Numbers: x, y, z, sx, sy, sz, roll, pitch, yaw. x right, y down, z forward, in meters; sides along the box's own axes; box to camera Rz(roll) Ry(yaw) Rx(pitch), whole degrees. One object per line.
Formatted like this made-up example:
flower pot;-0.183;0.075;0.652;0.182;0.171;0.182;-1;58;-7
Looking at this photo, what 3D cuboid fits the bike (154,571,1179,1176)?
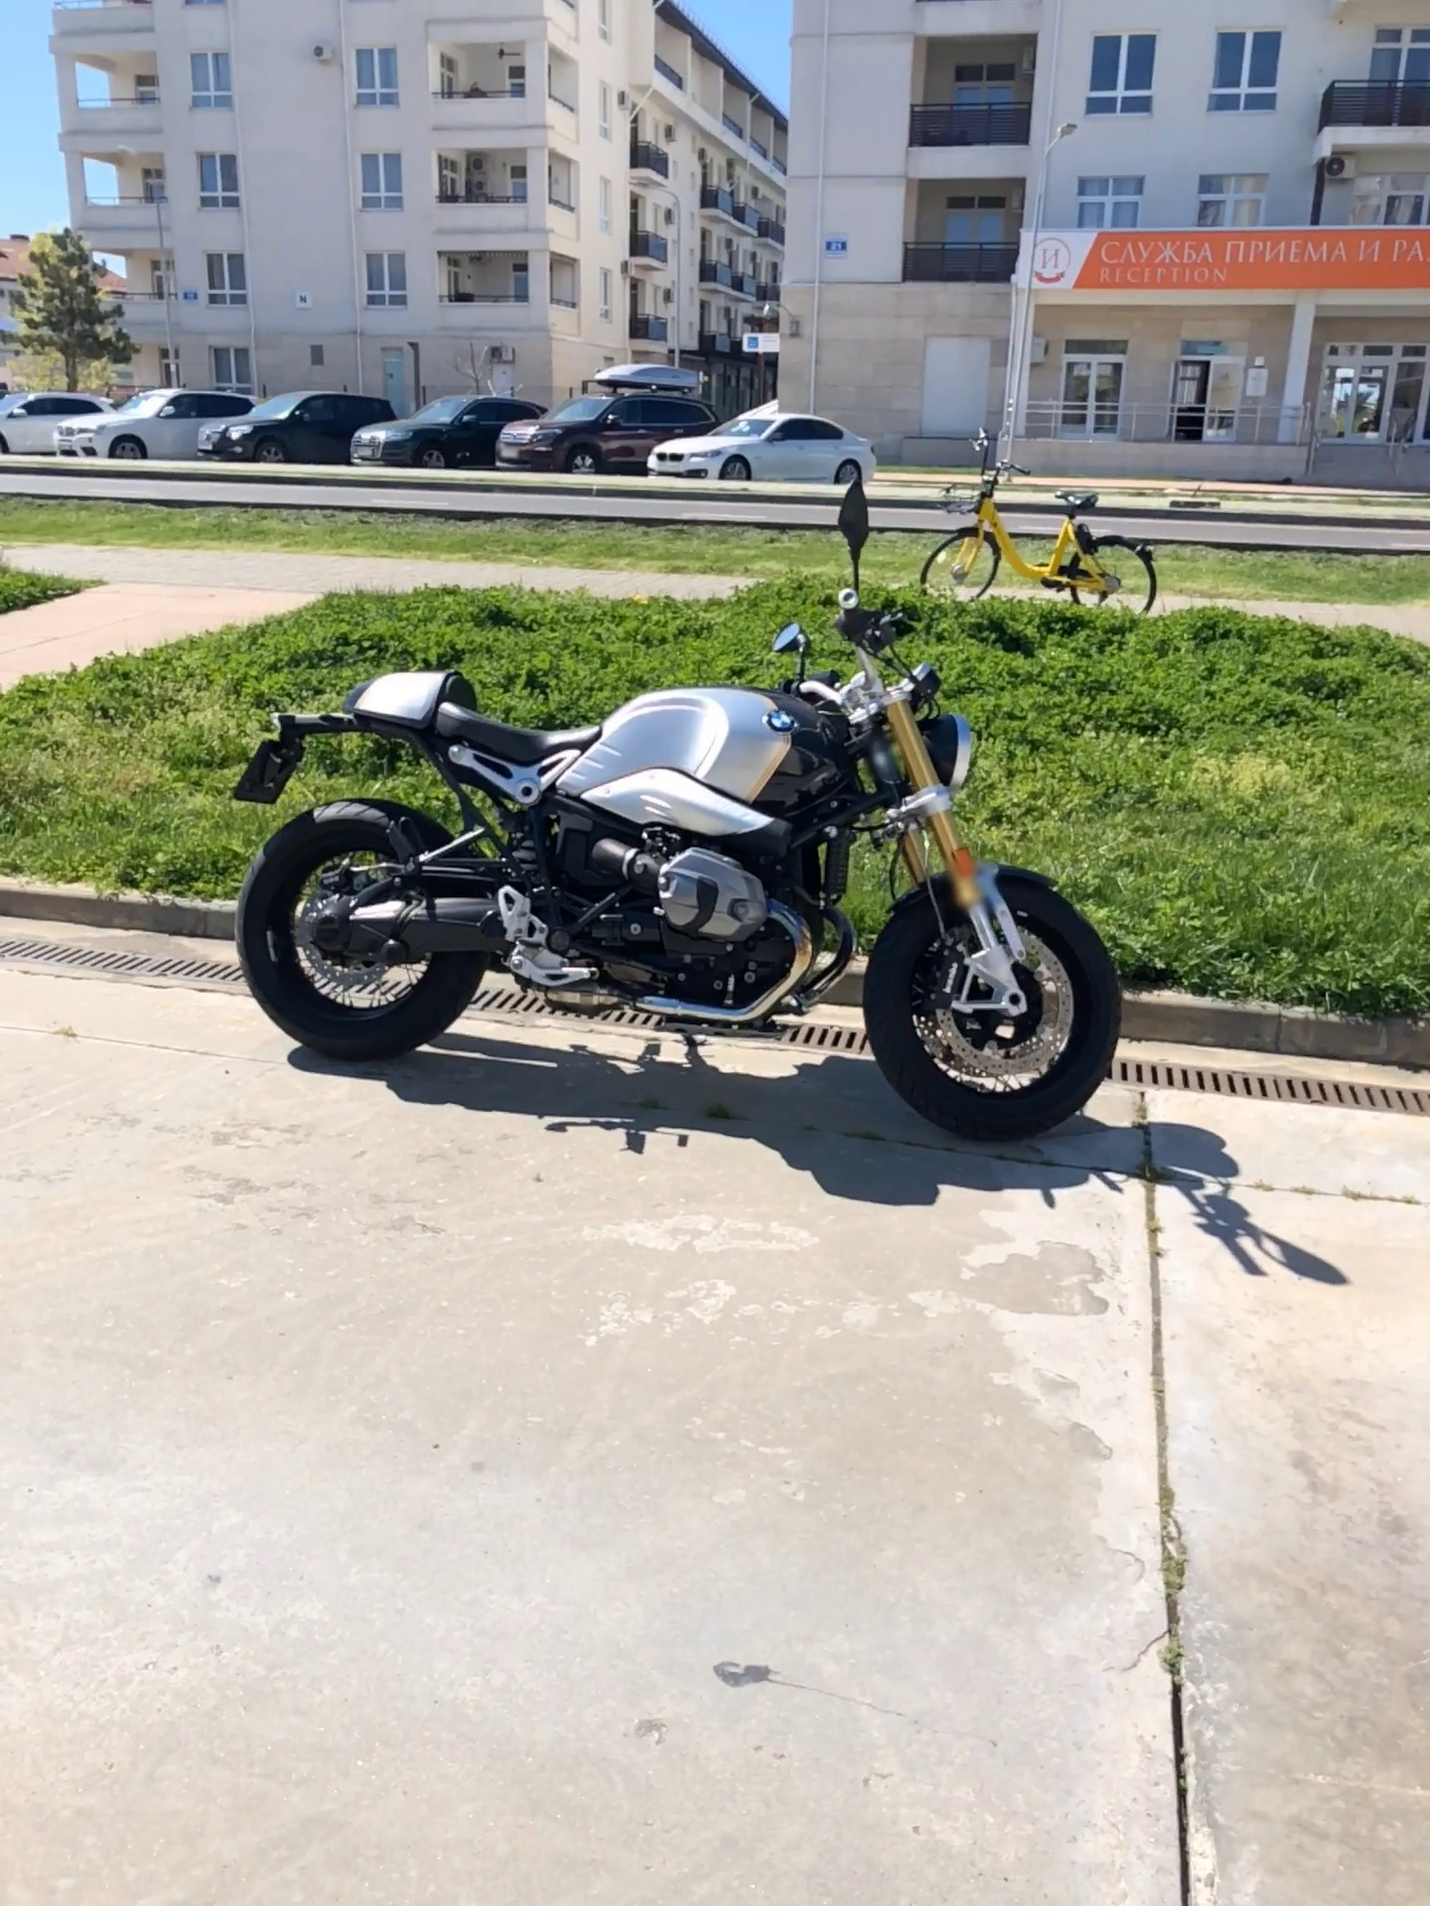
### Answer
bike;-0.133;-0.232;3.606;2.067;1.123;0.650;4;18;7
